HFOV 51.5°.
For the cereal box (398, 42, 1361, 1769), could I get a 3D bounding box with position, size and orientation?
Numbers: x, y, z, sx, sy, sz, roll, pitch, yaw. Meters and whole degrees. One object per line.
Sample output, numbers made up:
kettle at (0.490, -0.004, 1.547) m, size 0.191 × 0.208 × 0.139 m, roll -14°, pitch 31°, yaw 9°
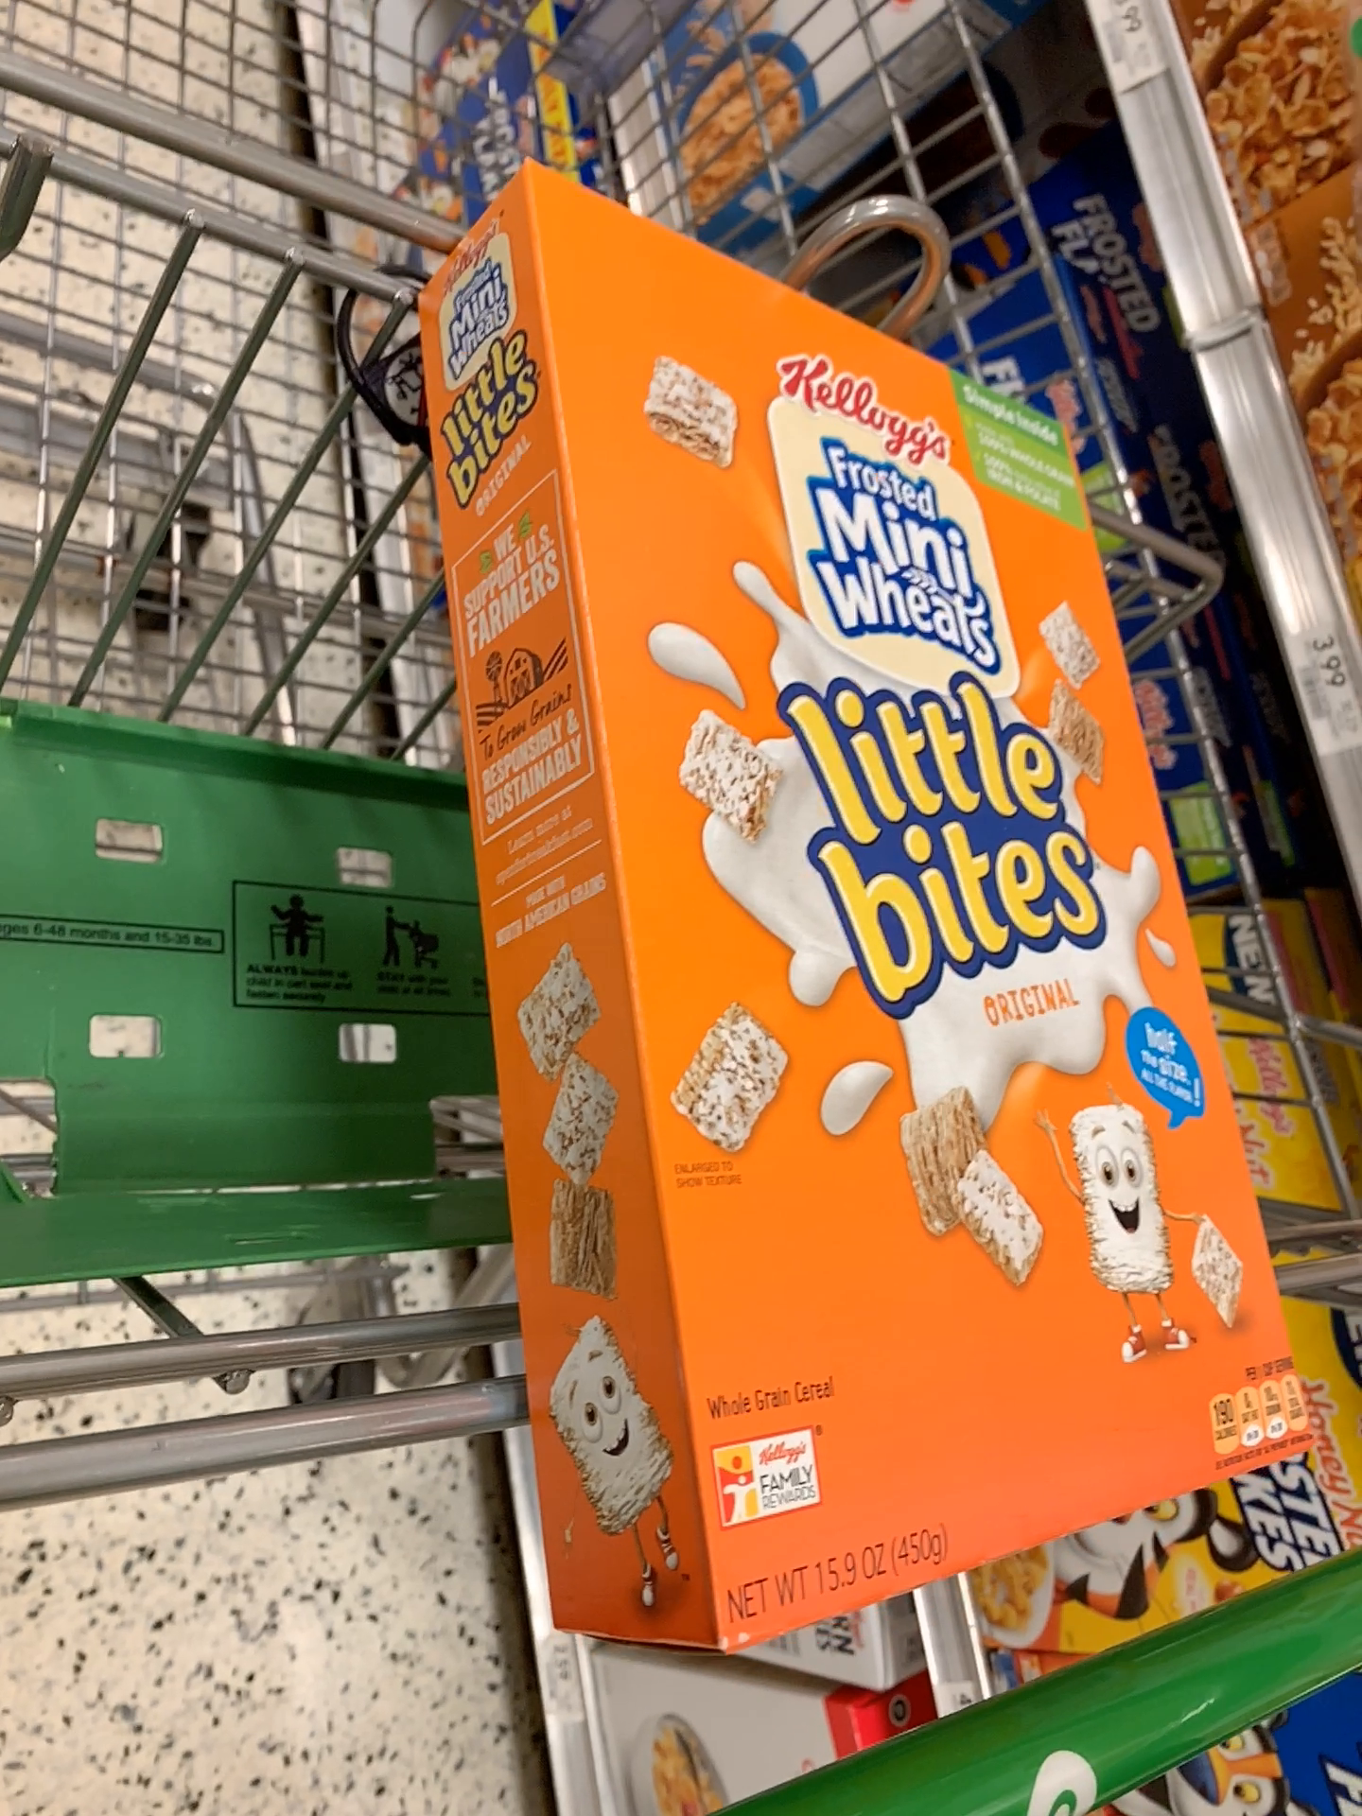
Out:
cereal box at (0.055, -0.012, 0.336) m, size 0.211 × 0.060 × 0.321 m, roll 6°, pitch 67°, yaw -39°
